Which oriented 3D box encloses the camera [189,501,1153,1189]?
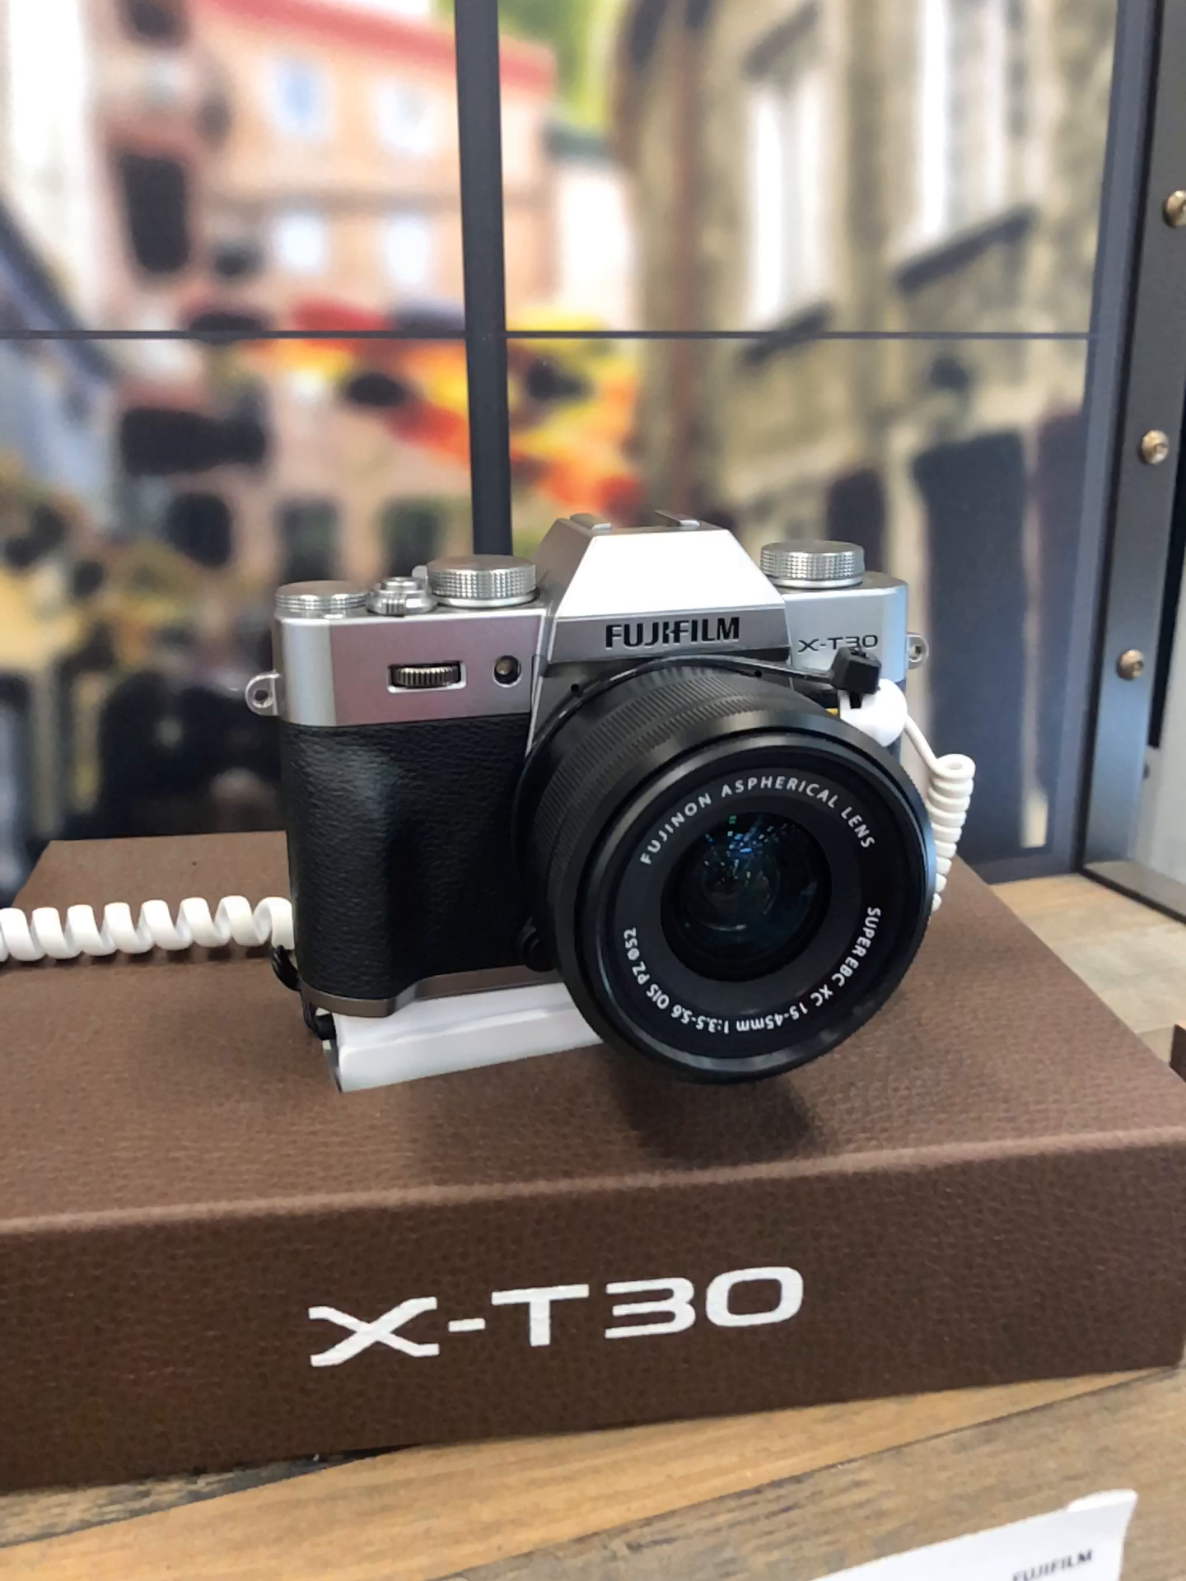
[{"bbox_3d":[0.005,-0.002,0.225,0.130,0.080,0.090,-4,18,-13],"label":"camera"}]
